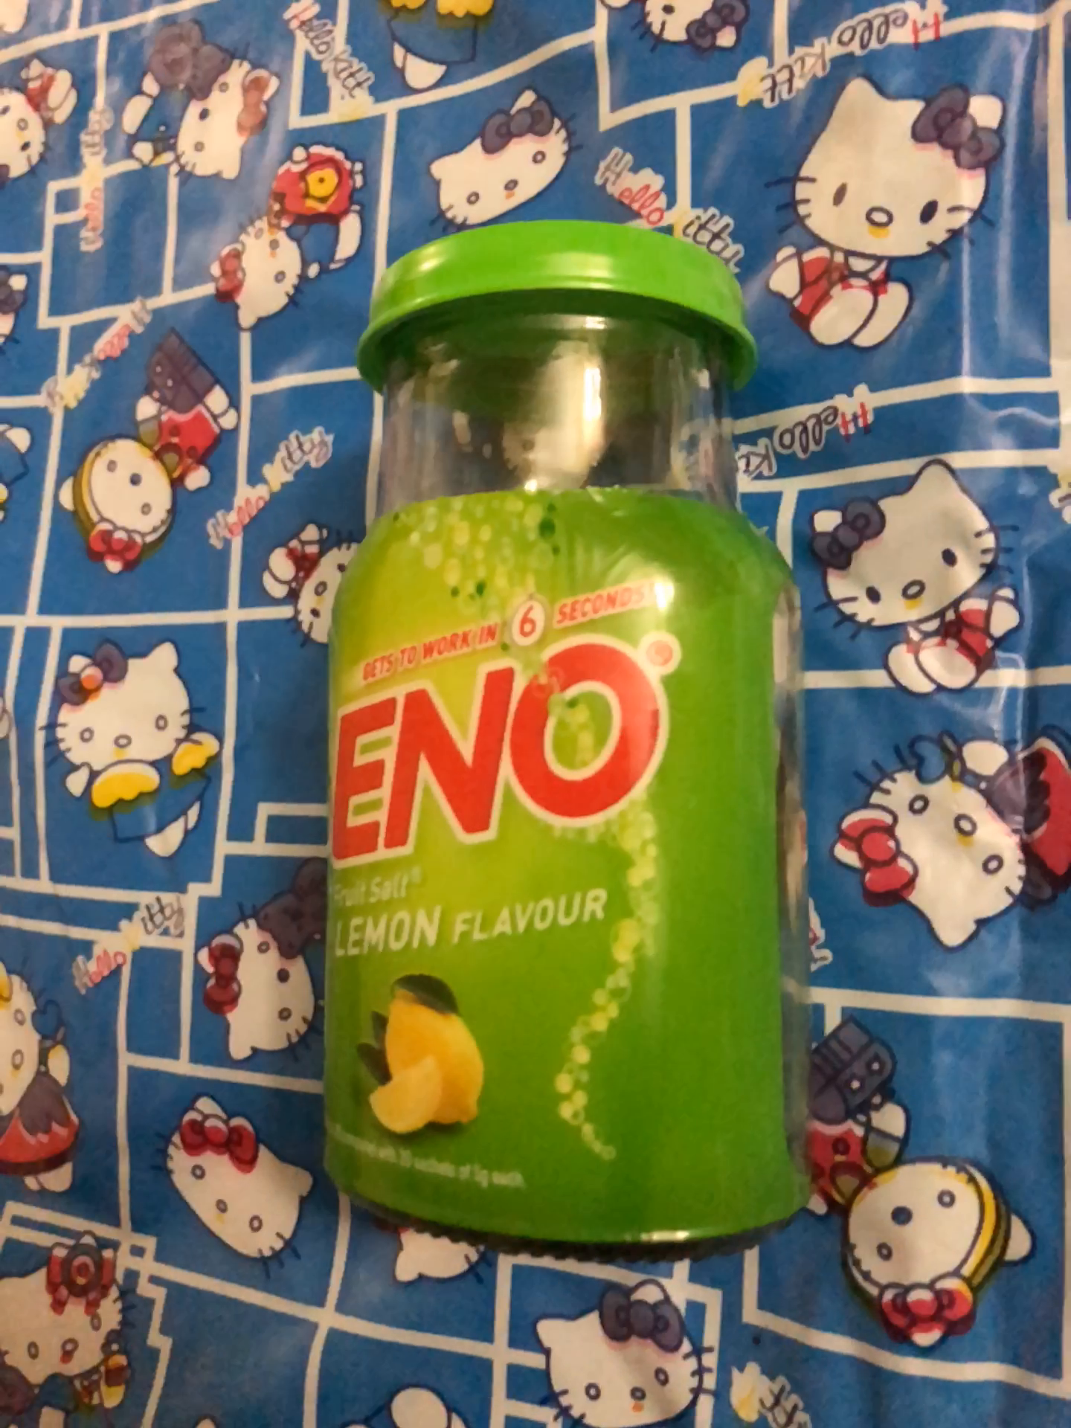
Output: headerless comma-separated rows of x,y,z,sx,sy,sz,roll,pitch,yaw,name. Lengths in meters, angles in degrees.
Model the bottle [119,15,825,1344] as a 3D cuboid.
-0.005,-0.002,0.136,0.060,0.050,0.110,-2,88,27,bottle
